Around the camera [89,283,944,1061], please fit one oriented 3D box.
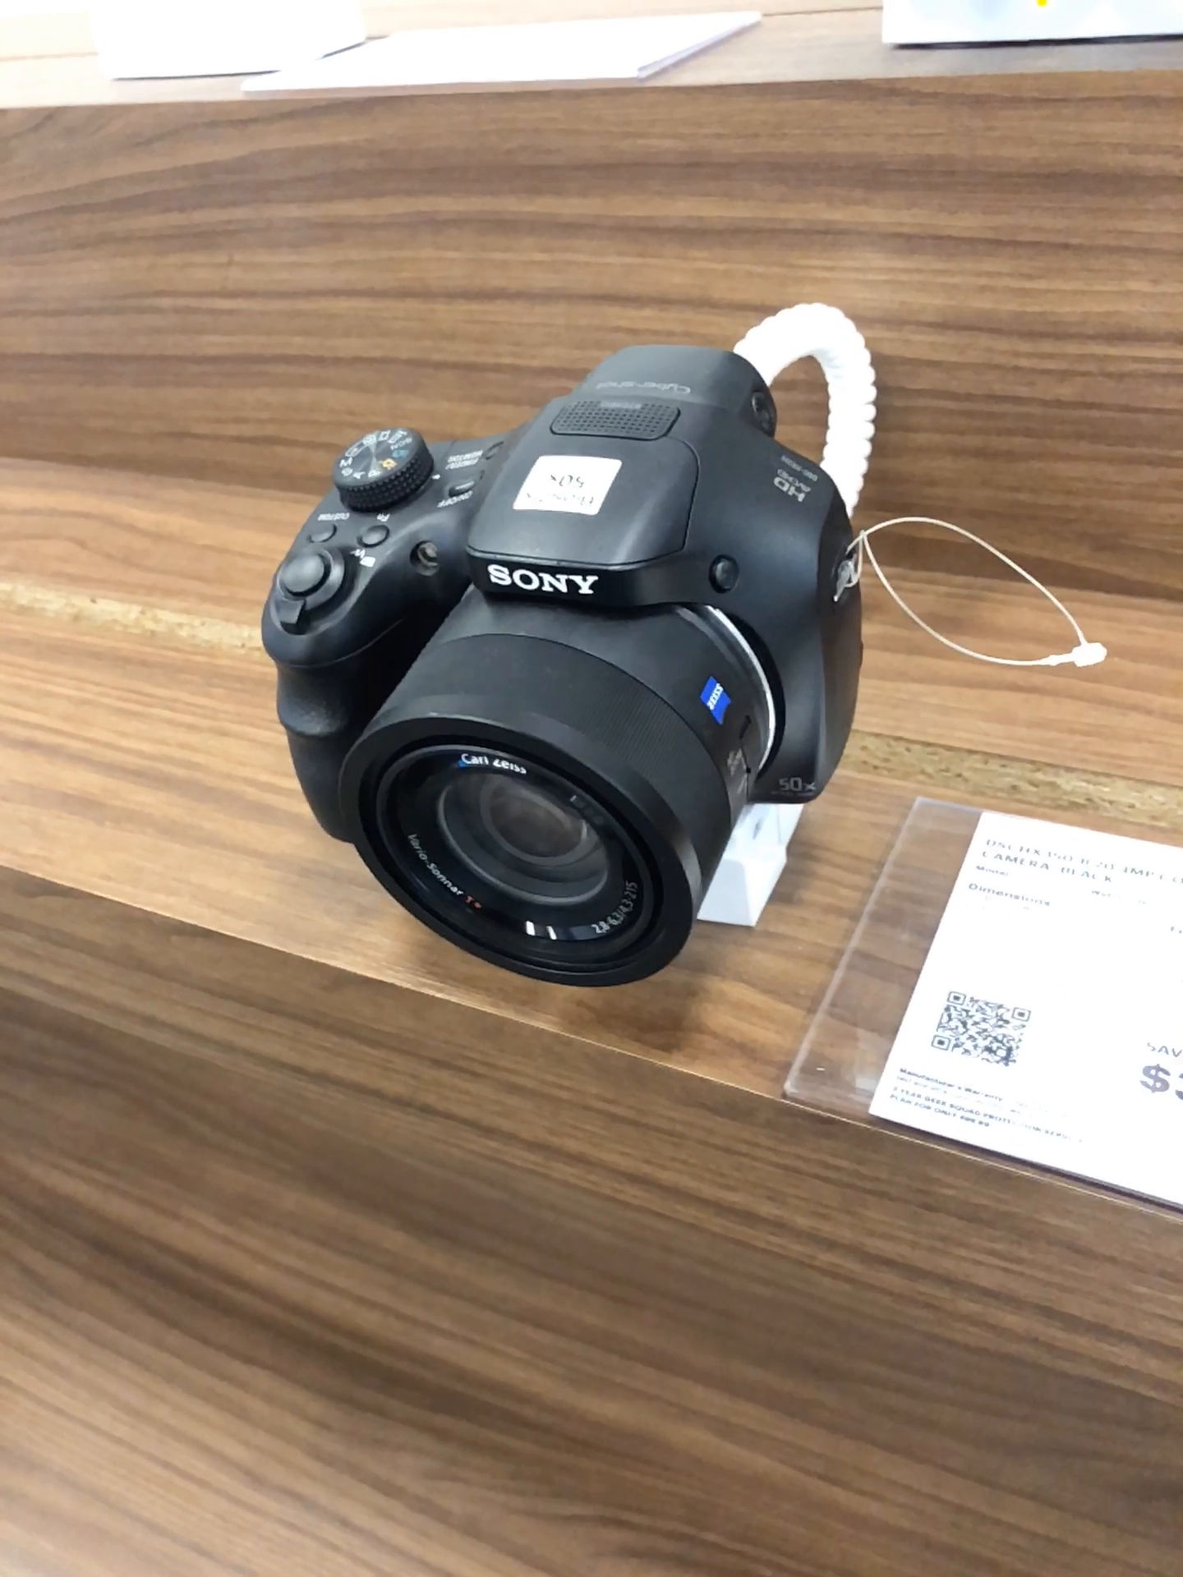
[{"bbox_3d":[-0.002,-0.039,0.305,0.130,0.100,0.140,11,44,23],"label":"camera"}]
